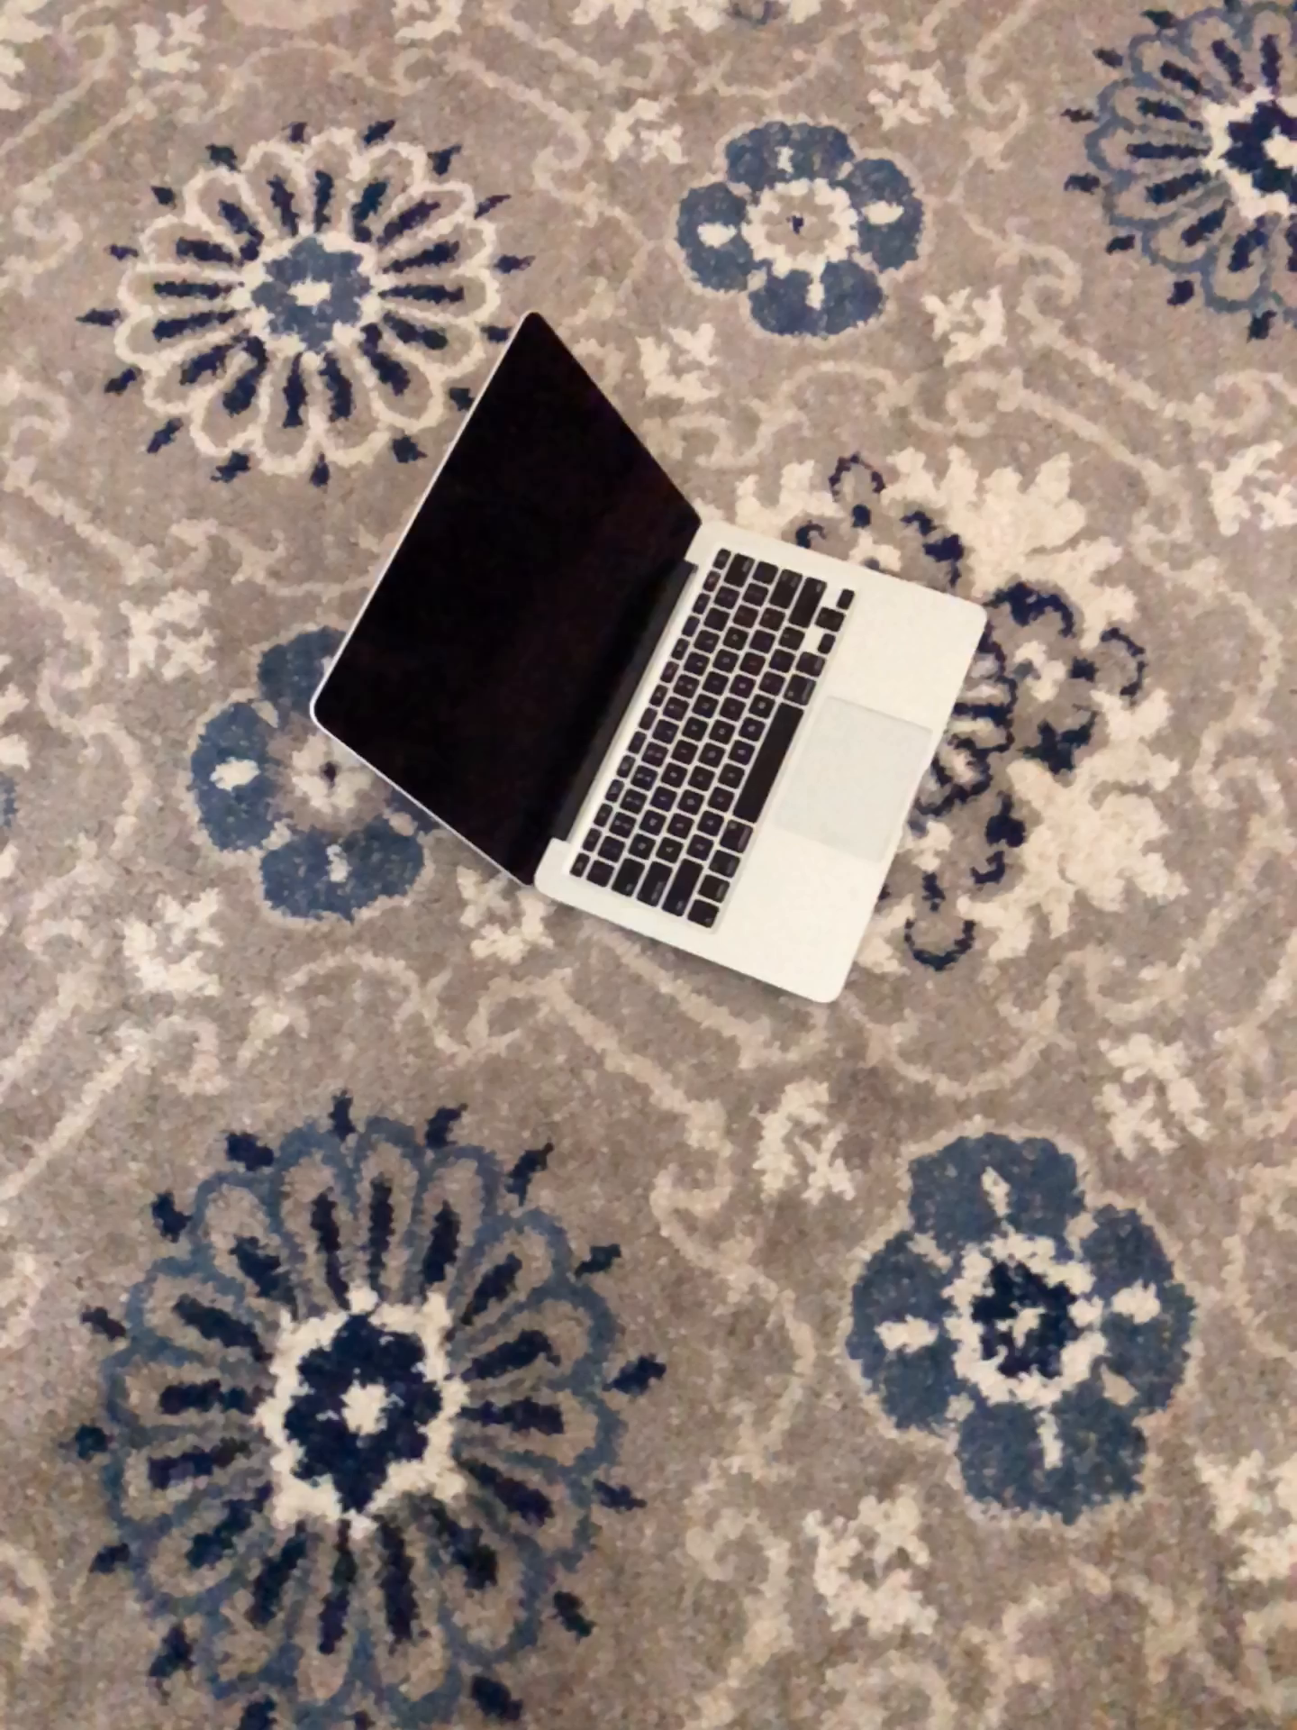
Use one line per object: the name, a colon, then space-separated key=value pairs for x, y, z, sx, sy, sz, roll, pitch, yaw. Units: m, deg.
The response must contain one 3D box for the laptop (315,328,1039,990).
laptop: x=0.024 y=-0.130 z=0.900 sx=0.322 sy=0.171 sz=0.300 roll=19 pitch=71 yaw=12
